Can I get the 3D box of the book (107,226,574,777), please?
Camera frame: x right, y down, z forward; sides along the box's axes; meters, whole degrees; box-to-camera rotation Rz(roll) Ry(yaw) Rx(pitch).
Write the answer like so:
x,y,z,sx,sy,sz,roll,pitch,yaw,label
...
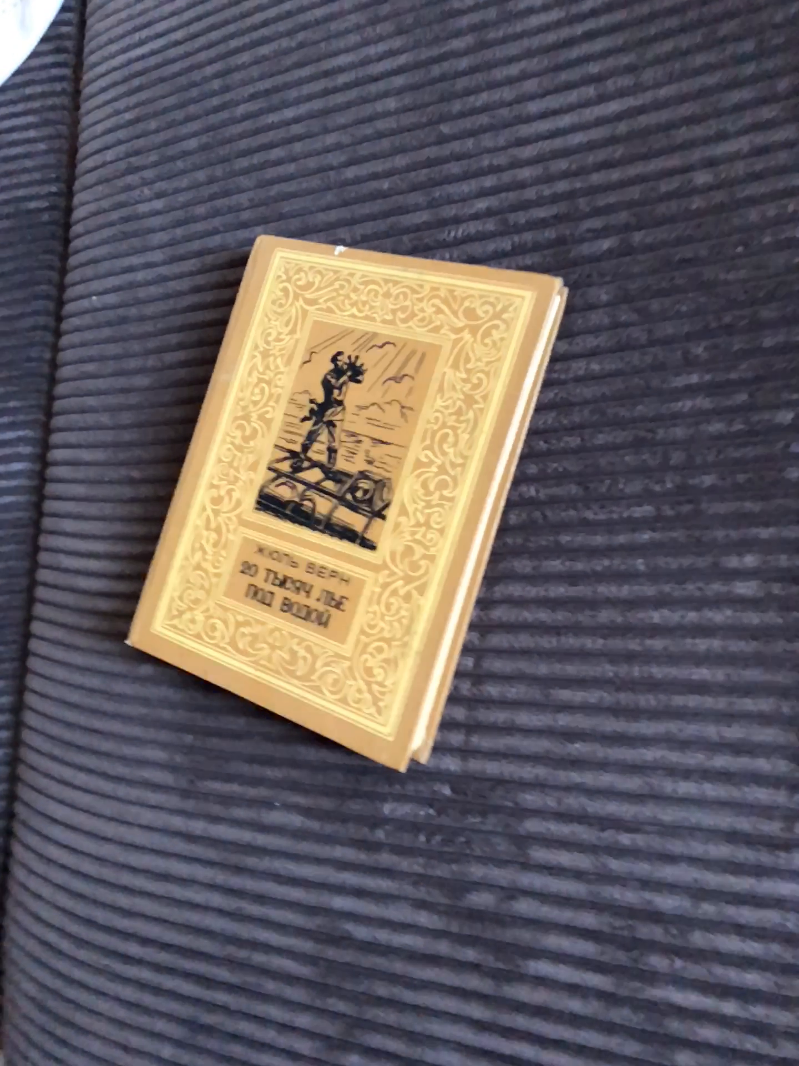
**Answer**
x,y,z,sx,sy,sz,roll,pitch,yaw,label
-0.034,-0.025,0.412,0.171,0.029,0.219,17,89,27,book
